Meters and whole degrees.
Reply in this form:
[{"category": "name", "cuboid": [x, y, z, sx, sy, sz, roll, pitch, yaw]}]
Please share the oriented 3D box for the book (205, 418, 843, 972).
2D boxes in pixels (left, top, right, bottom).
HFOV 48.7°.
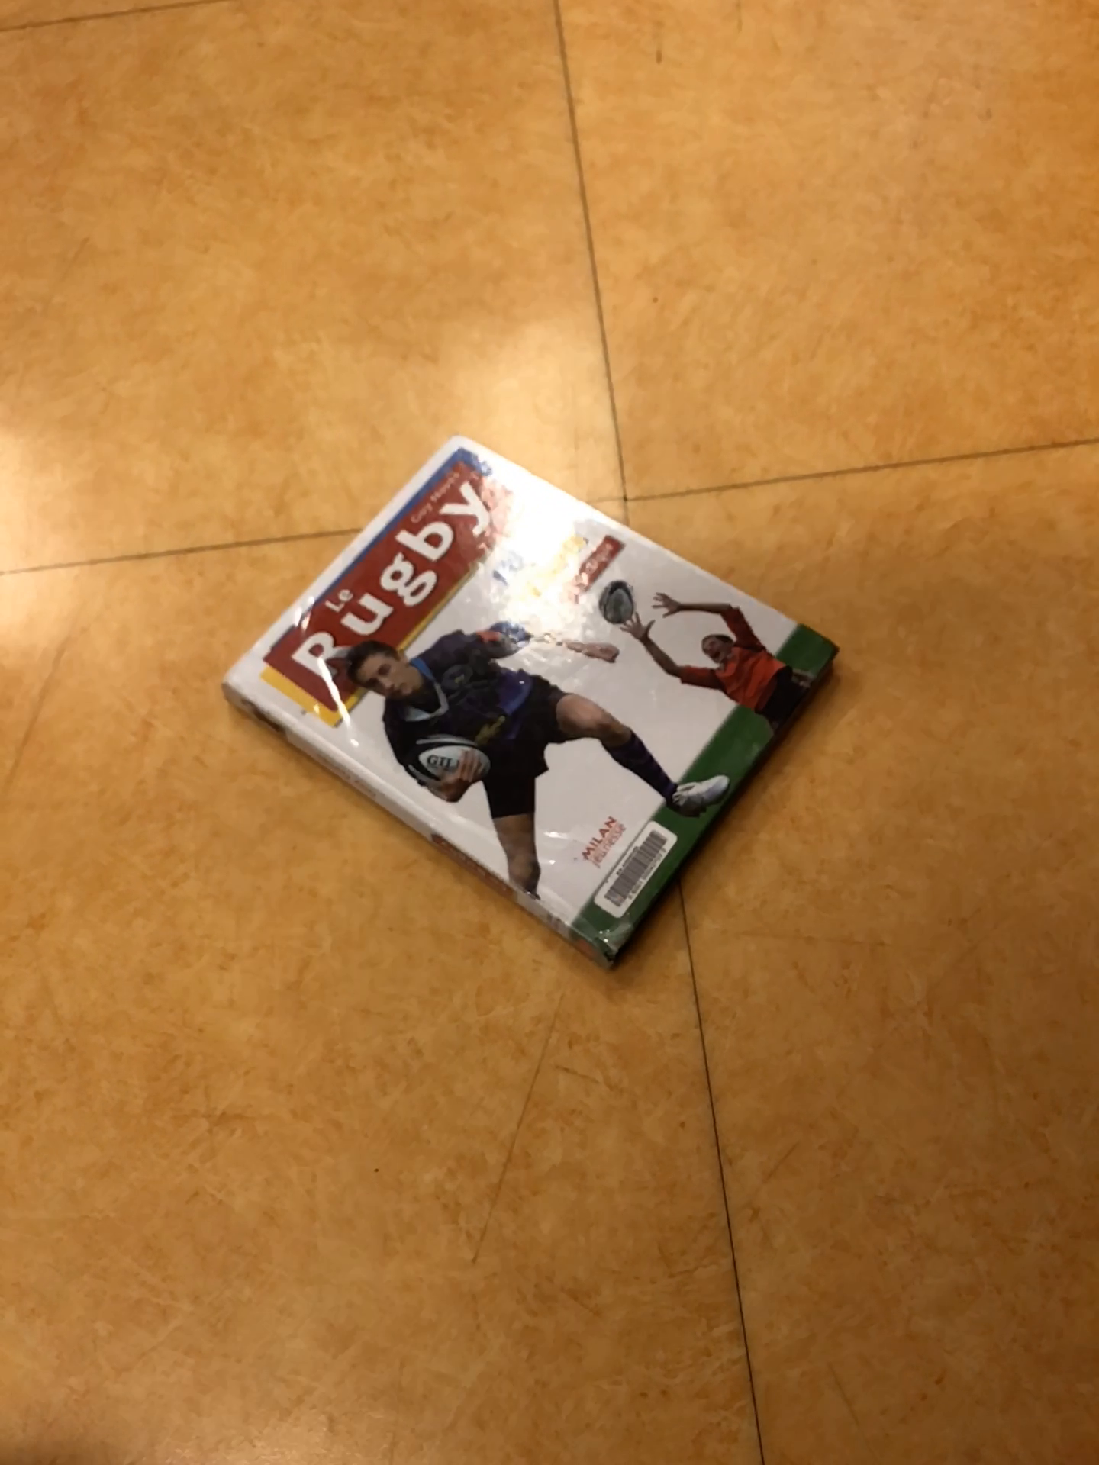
[{"category": "book", "cuboid": [-0.015, -0.034, 0.635, 0.260, 0.024, 0.203, 33, 71, 19]}]
